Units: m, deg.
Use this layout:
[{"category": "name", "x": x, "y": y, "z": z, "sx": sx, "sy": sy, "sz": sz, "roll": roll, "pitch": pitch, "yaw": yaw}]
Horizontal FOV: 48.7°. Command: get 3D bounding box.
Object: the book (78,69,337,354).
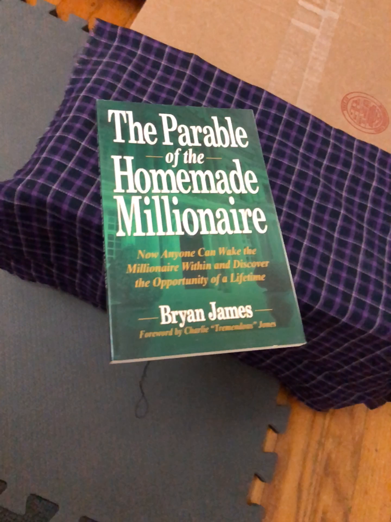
[{"category": "book", "x": 0.001, "y": -0.047, "z": 0.316, "sx": 0.160, "sy": 0.020, "sz": 0.211, "roll": -2, "pitch": 68, "yaw": -15}]
